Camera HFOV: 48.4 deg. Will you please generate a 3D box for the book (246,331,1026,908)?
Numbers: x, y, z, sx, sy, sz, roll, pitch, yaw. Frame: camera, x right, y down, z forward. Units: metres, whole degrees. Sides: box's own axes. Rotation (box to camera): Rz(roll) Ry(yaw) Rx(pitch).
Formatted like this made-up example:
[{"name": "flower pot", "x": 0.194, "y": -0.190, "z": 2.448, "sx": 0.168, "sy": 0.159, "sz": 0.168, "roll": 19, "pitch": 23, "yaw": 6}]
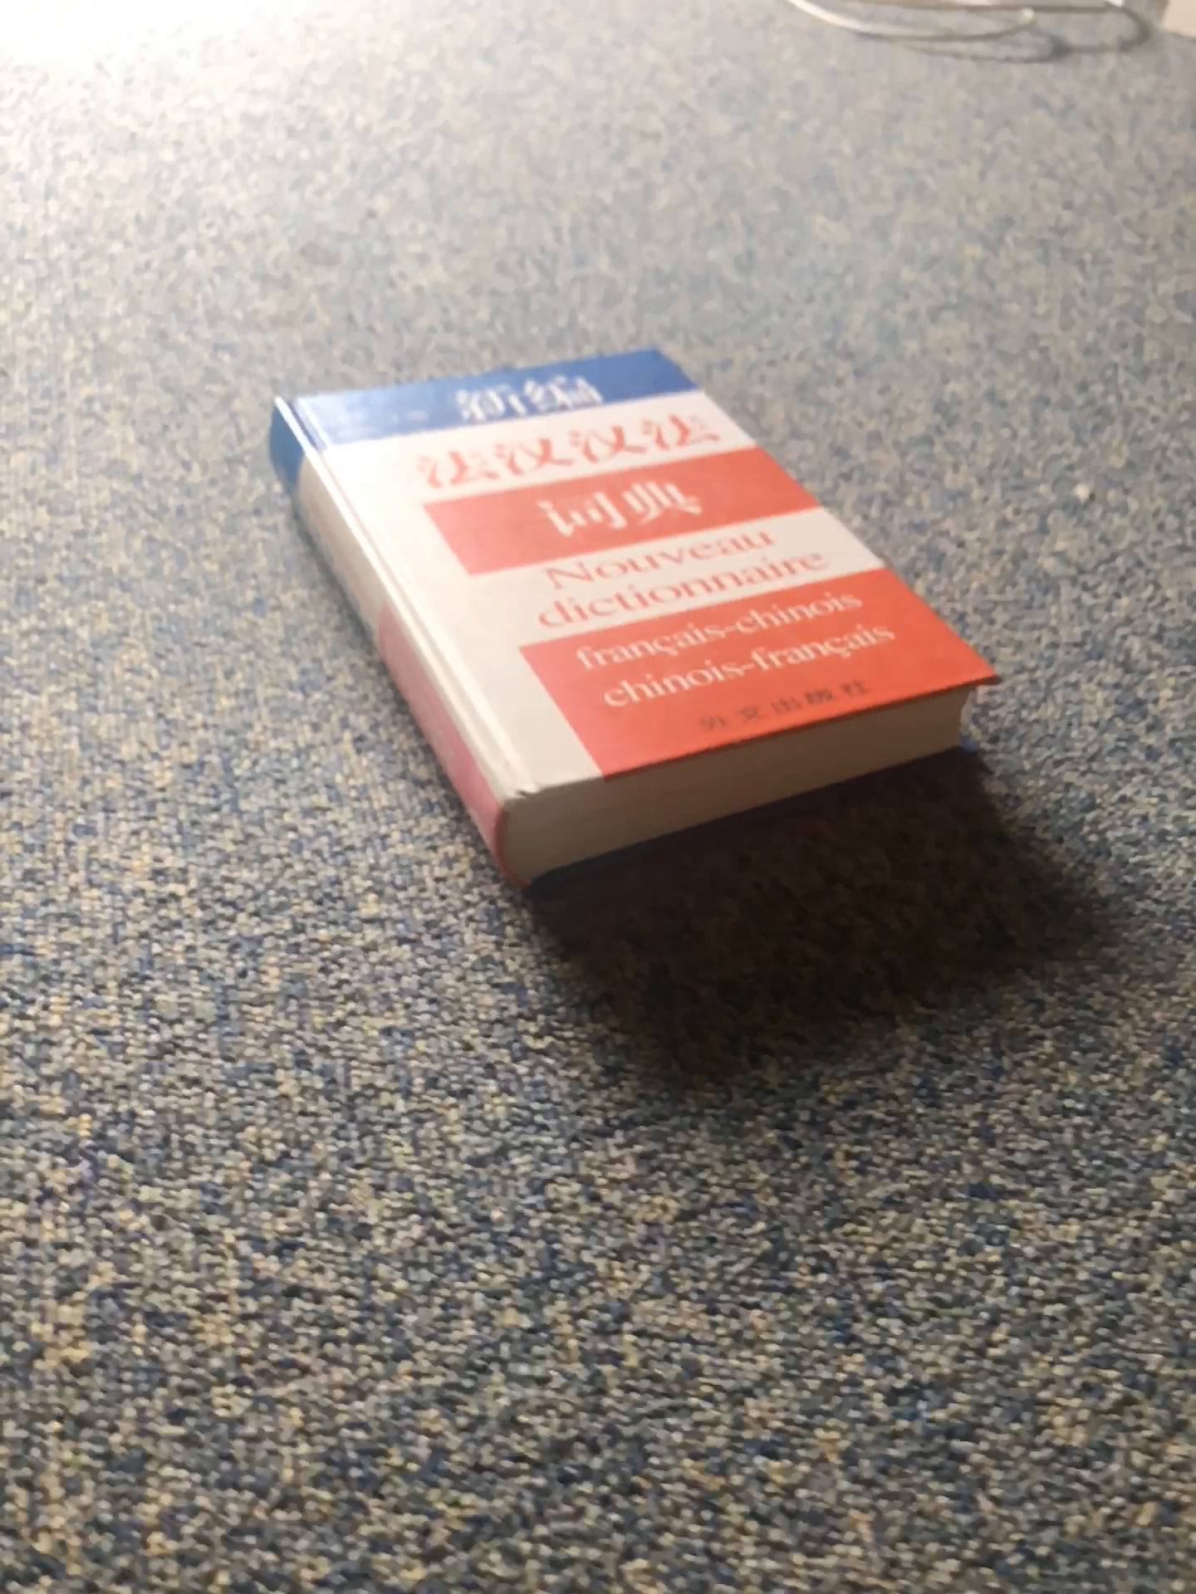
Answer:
[{"name": "book", "x": -0.001, "y": -0.072, "z": 0.402, "sx": 0.153, "sy": 0.034, "sz": 0.209, "roll": -15, "pitch": 47, "yaw": -21}]
